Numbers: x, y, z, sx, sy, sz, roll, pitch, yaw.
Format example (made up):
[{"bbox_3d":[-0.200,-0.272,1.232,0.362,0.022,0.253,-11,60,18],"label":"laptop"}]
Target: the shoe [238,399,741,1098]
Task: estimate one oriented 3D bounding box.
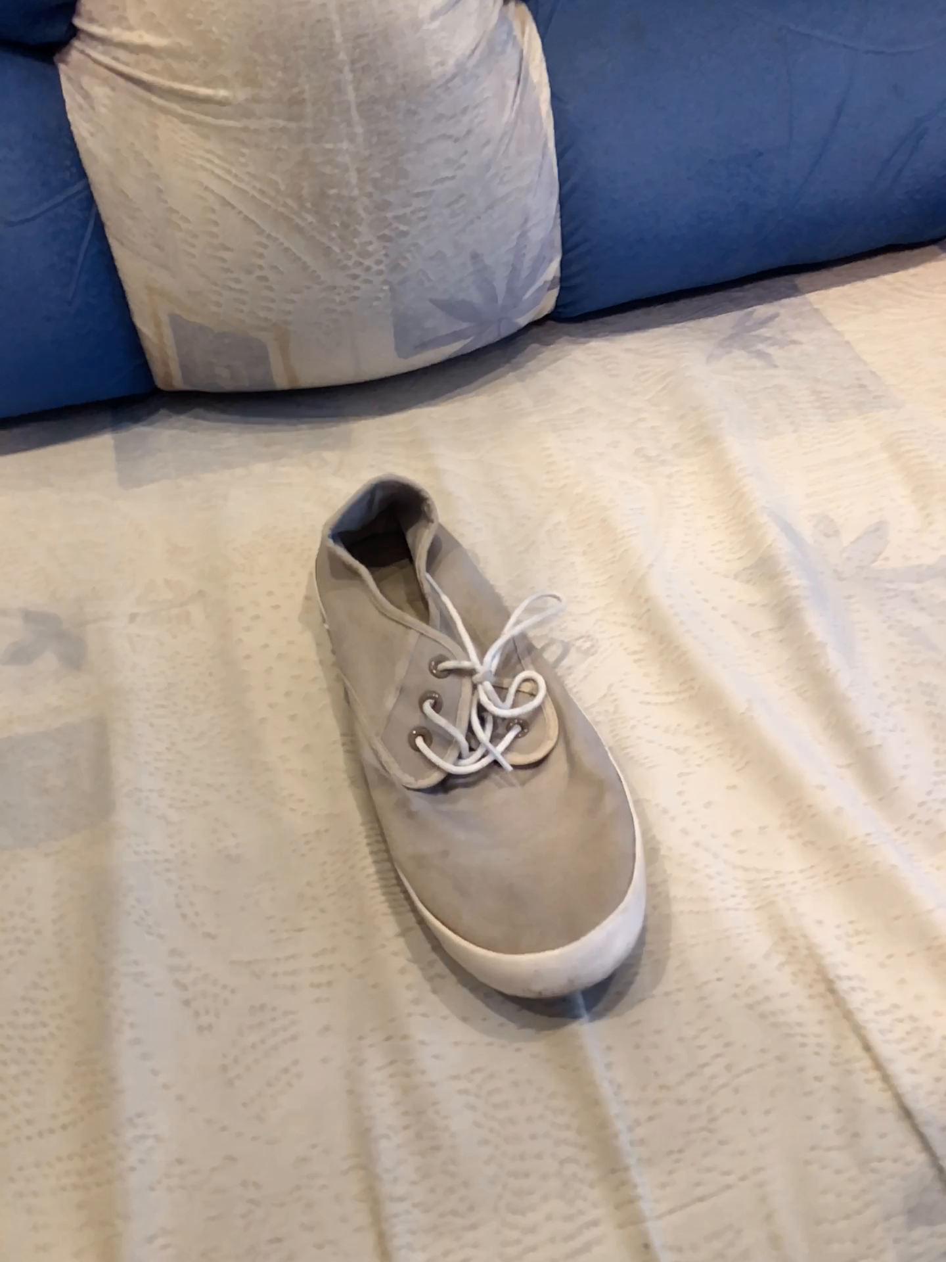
[{"bbox_3d":[-0.011,0.025,0.424,0.110,0.079,0.272,-15,50,-11],"label":"shoe"}]
